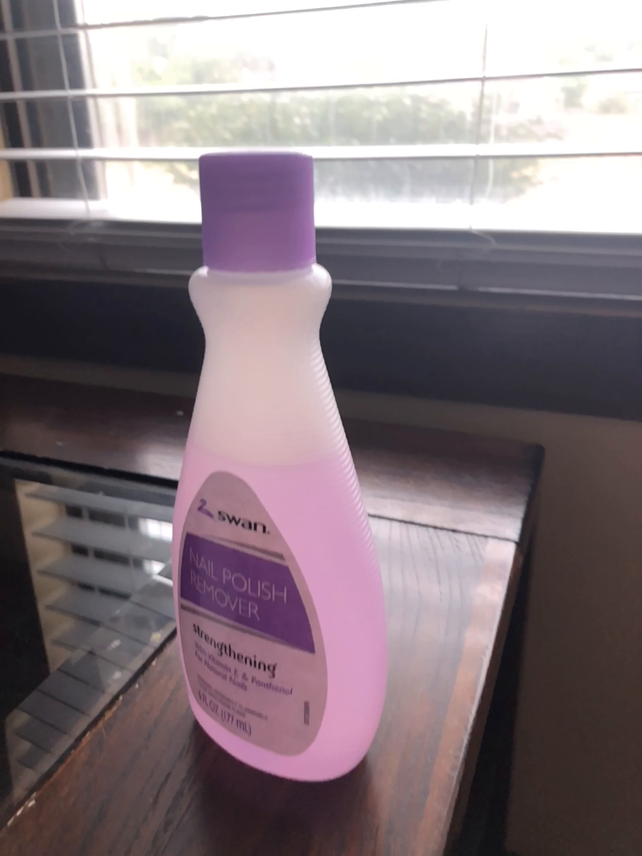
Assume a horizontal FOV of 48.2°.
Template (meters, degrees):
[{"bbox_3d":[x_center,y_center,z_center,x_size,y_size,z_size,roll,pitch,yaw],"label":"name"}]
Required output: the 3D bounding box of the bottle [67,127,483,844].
[{"bbox_3d":[-0.009,0.012,0.193,0.080,0.170,0.050,13,26,32],"label":"bottle"}]
